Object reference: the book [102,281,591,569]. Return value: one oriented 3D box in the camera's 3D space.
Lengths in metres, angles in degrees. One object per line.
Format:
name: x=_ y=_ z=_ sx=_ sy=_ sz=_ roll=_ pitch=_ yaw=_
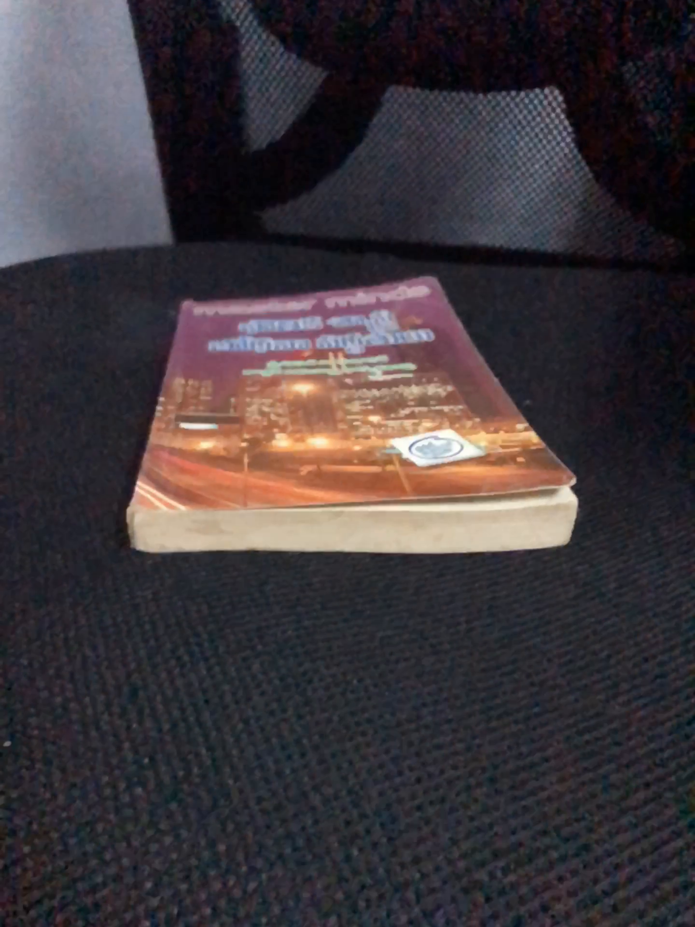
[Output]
book: x=-0.011 y=-0.033 z=0.330 sx=0.145 sy=0.027 sz=0.219 roll=0 pitch=28 yaw=-8
